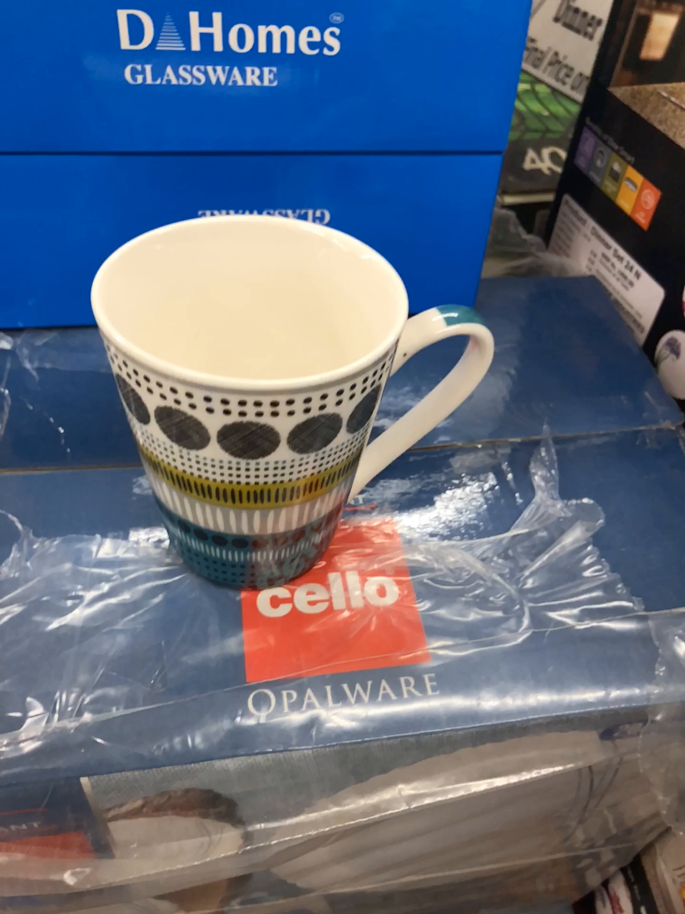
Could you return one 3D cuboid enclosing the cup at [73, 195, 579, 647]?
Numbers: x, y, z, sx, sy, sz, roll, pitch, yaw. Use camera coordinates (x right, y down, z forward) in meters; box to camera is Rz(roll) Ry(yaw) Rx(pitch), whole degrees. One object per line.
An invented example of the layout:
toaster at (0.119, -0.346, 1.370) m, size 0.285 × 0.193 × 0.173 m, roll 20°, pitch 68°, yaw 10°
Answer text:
cup at (-0.012, -0.015, 0.244) m, size 0.120 × 0.089 × 0.090 m, roll -9°, pitch 49°, yaw -14°
